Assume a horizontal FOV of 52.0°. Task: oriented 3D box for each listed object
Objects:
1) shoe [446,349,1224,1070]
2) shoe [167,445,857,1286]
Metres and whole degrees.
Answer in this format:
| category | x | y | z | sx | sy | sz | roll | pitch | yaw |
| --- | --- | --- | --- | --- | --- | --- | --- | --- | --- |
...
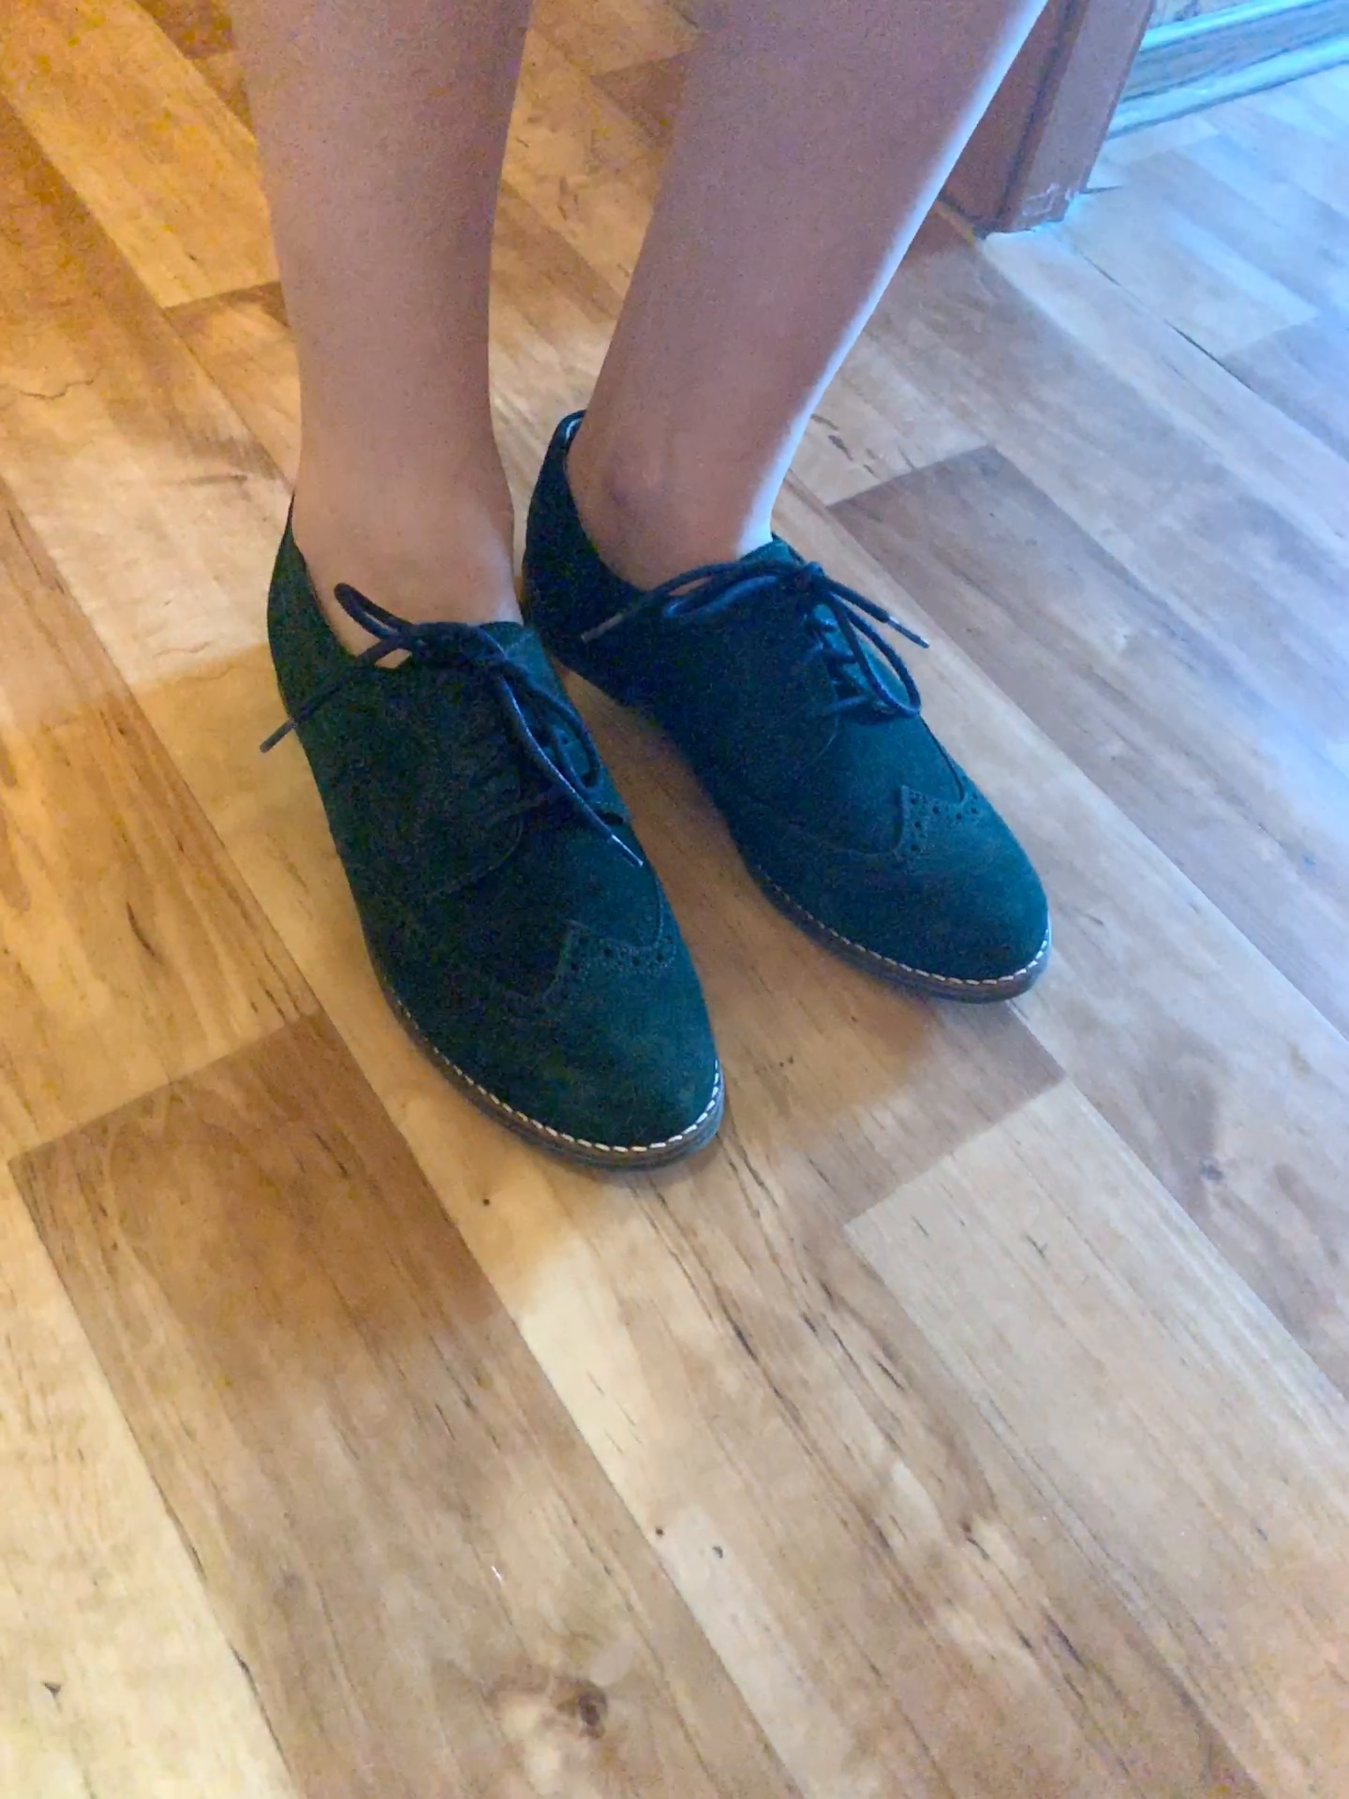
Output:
| category | x | y | z | sx | sy | sz | roll | pitch | yaw |
| --- | --- | --- | --- | --- | --- | --- | --- | --- | --- |
| shoe | 0.042 | -0.074 | 0.478 | 0.250 | 0.080 | 0.100 | 42 | 59 | 18 |
| shoe | -0.063 | -0.023 | 0.443 | 0.090 | 0.080 | 0.260 | -24 | 63 | -24 |
